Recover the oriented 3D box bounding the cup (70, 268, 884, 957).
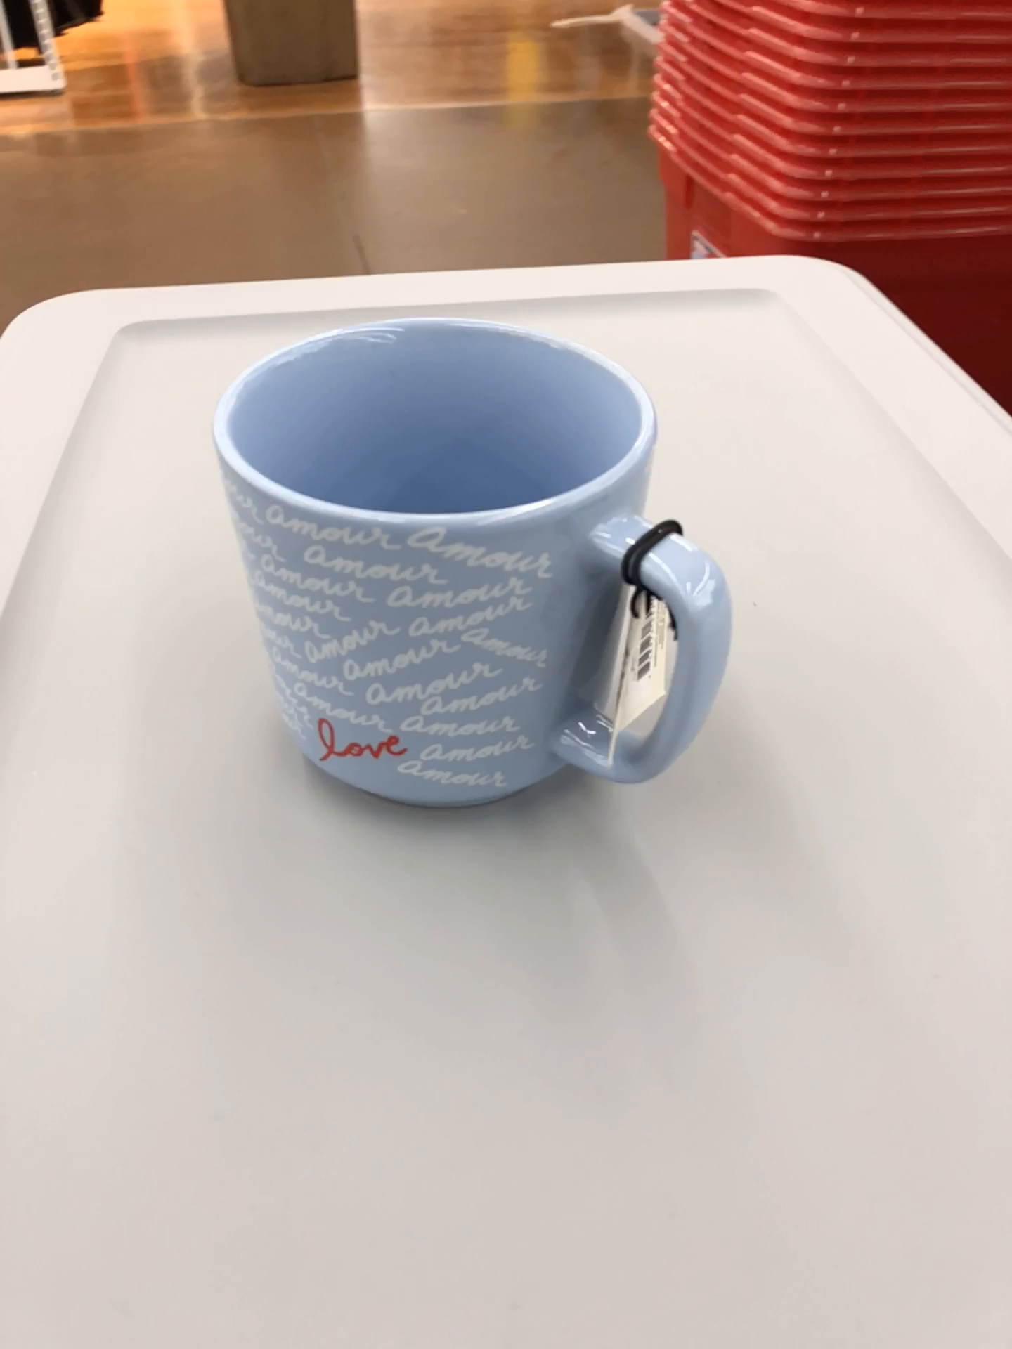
[{"bbox_3d":[-0.006,-0.026,0.263,0.140,0.080,0.100,25,45,27],"label":"cup"}]
